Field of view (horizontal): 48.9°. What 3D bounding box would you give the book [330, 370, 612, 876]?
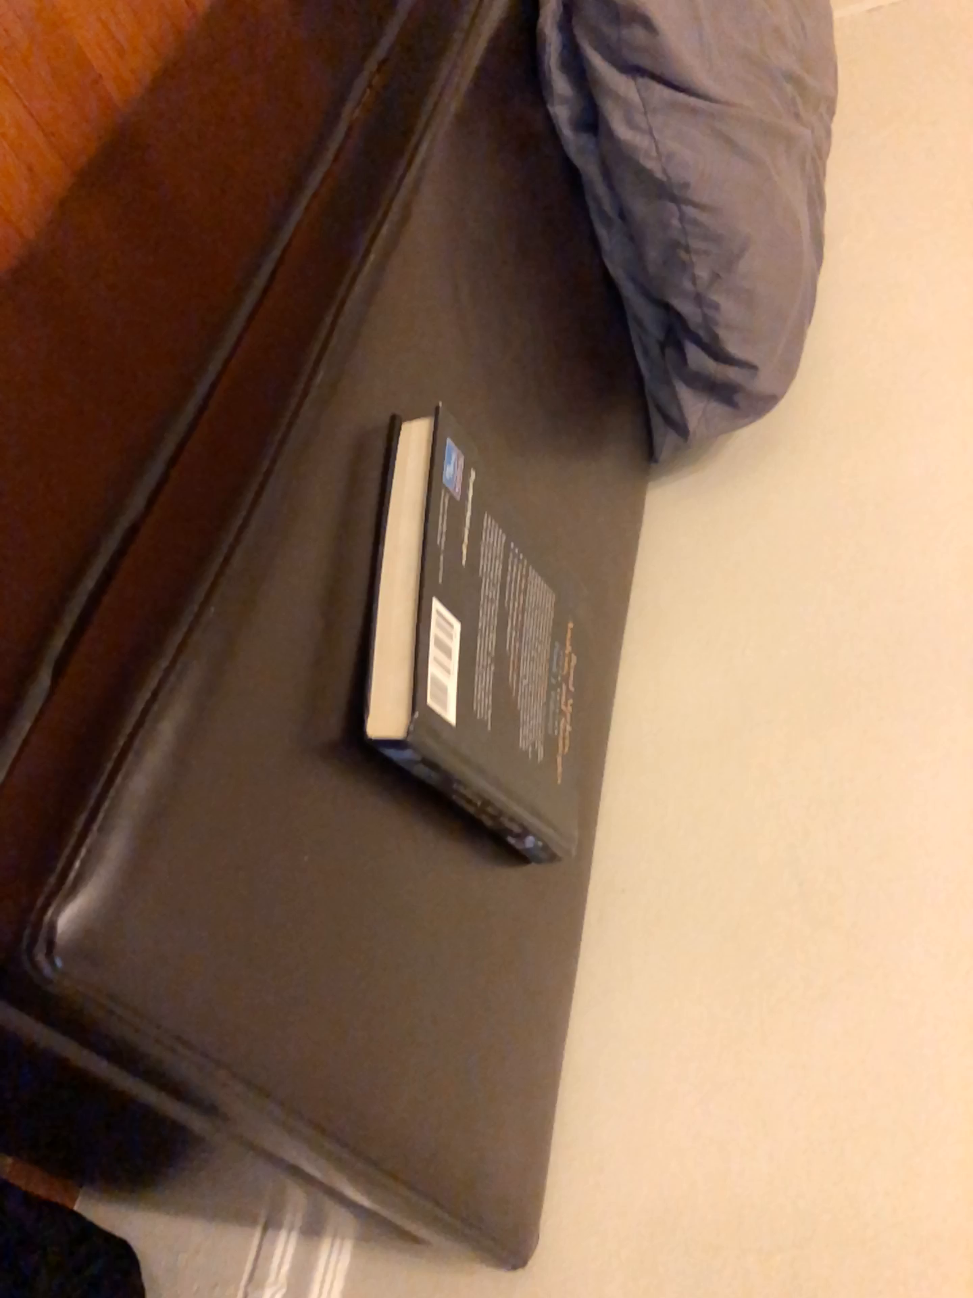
[{"bbox_3d":[0.009,0.003,0.616,0.261,0.040,0.200,43,46,-56],"label":"book"}]
